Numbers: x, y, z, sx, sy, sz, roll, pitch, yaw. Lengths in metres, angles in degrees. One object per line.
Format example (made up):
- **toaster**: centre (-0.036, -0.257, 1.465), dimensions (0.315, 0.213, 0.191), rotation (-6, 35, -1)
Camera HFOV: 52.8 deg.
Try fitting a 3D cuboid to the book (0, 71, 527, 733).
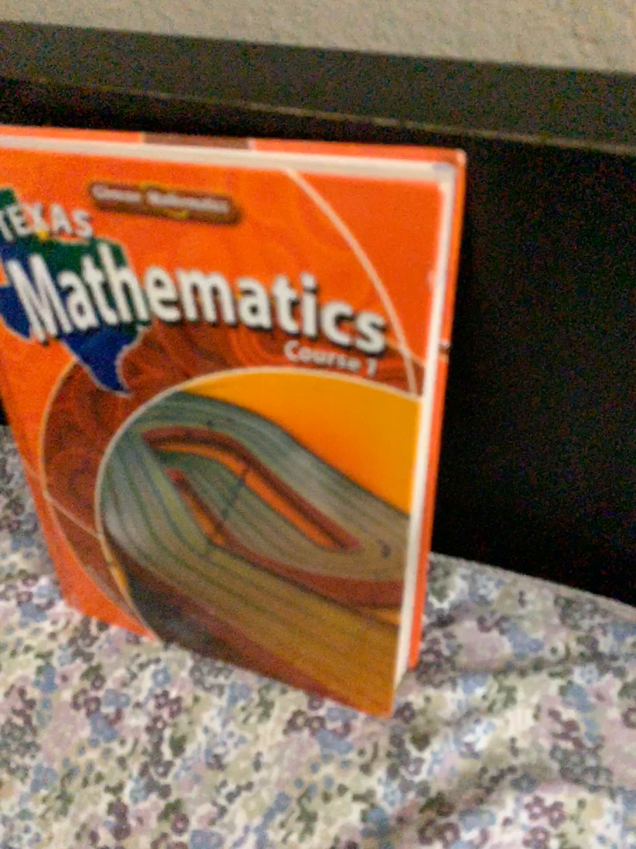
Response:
- **book**: centre (-0.050, 0.011, 0.303), dimensions (0.230, 0.299, 0.050), rotation (11, 39, 15)
